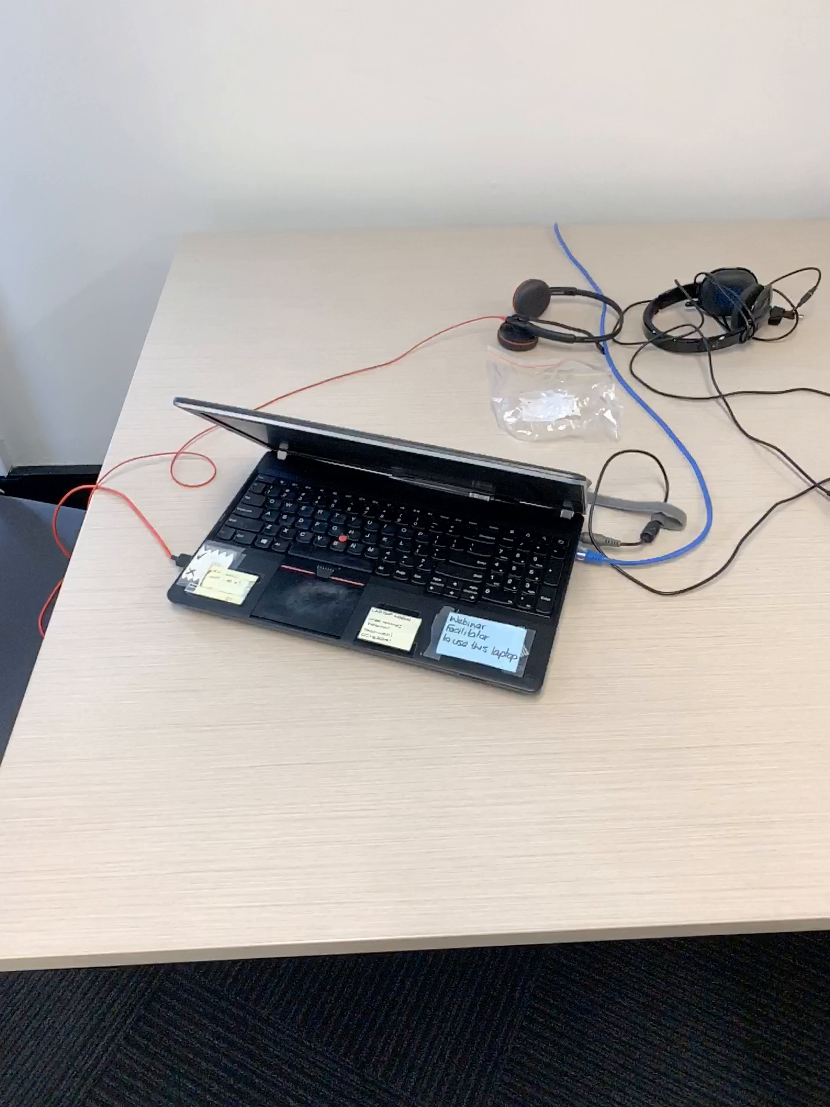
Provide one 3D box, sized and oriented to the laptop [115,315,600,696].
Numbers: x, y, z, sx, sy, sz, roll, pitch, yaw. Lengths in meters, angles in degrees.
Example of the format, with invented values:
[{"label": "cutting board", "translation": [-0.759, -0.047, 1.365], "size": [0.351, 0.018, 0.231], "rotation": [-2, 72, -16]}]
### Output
[{"label": "laptop", "translation": [-0.031, -0.056, 0.704], "size": [0.326, 0.157, 0.227], "rotation": [12, 42, 14]}]
